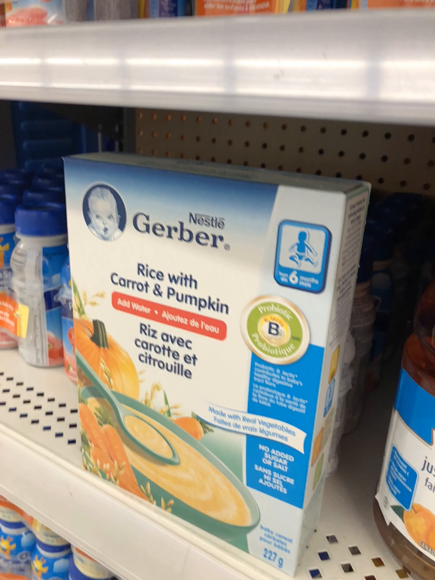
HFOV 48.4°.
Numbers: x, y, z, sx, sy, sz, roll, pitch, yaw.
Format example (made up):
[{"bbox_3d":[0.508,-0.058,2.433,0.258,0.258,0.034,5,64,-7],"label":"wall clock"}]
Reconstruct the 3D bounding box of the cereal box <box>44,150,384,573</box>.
[{"bbox_3d":[-0.010,0.028,0.253,0.150,0.179,0.050,14,24,26],"label":"cereal box"}]
